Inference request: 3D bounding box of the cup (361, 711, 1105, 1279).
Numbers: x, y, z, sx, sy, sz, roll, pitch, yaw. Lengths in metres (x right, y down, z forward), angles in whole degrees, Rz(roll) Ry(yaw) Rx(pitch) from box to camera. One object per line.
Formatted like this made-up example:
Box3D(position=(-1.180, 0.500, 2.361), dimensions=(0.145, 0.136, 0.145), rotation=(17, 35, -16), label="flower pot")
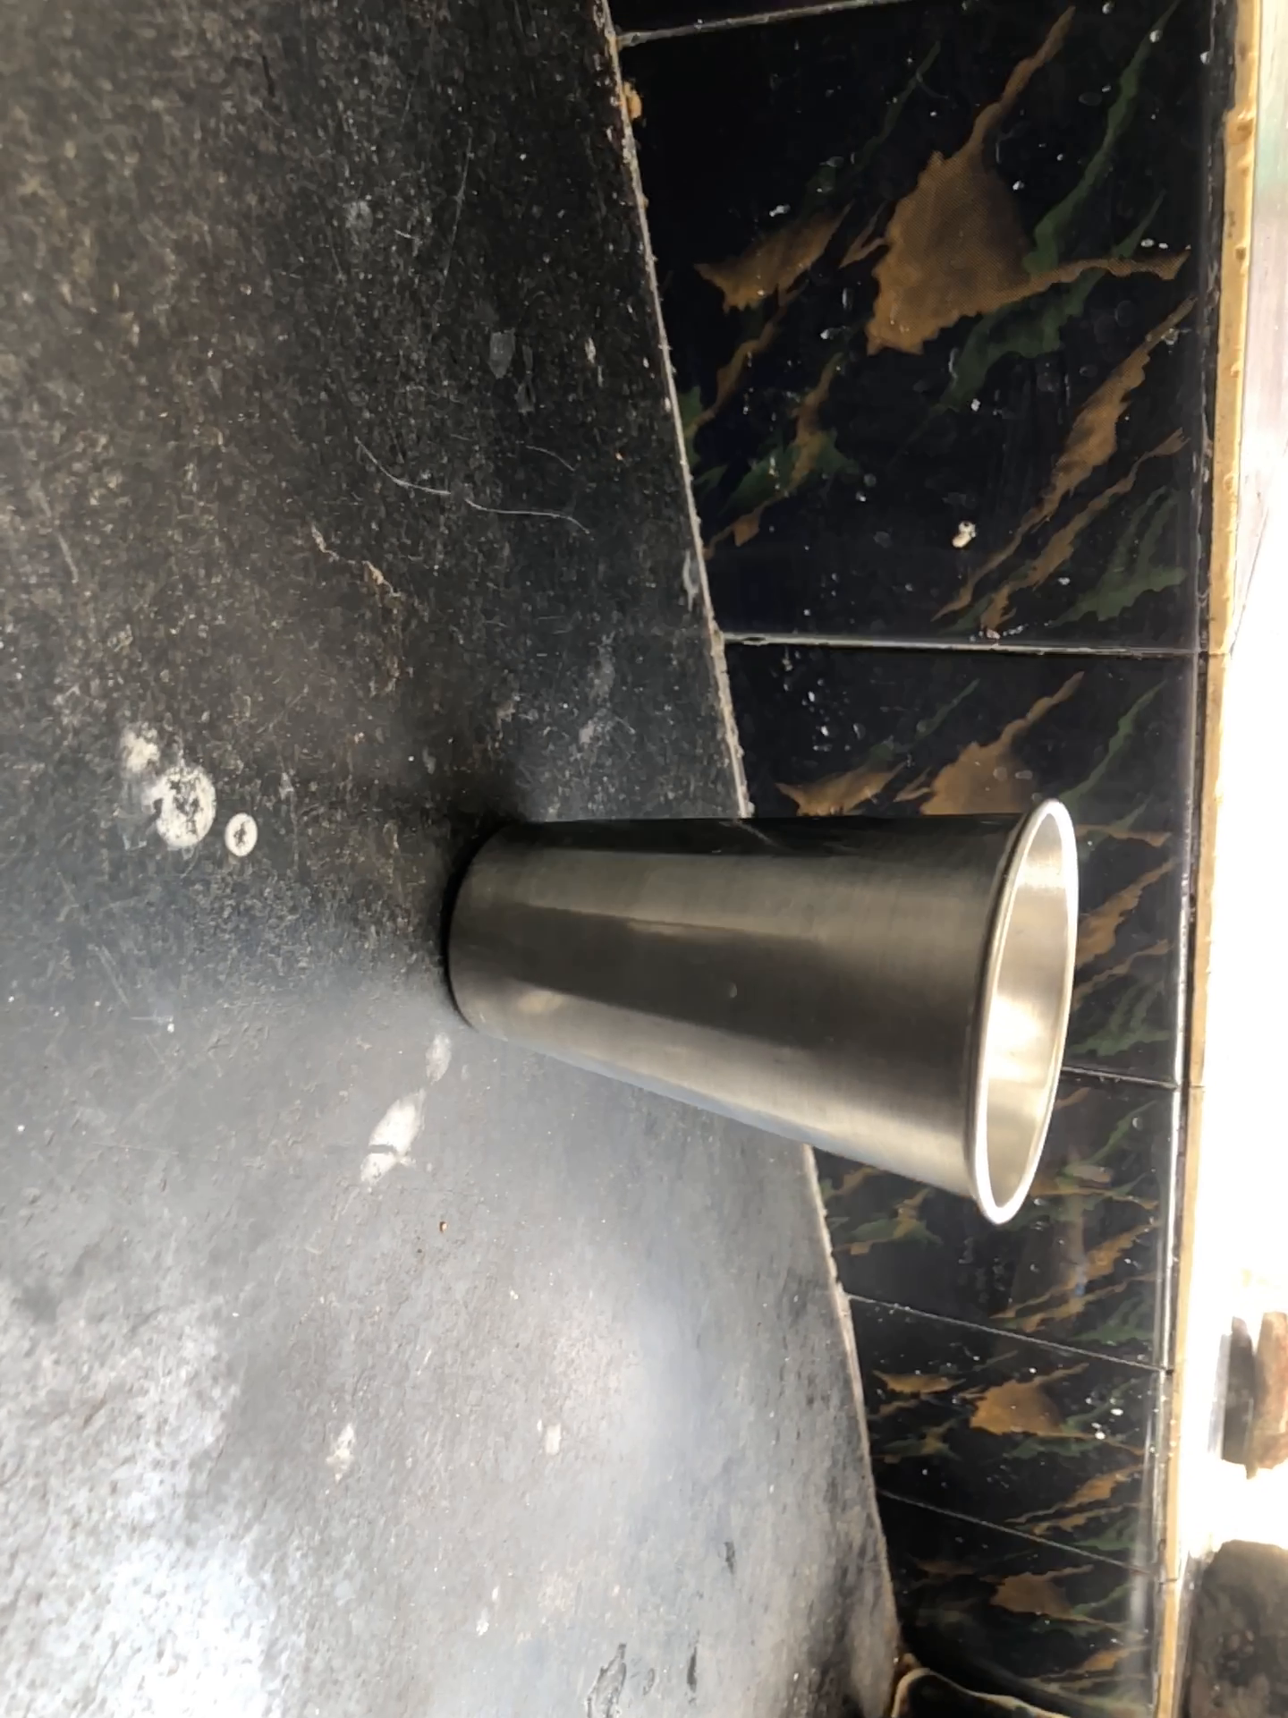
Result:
Box3D(position=(0.024, 0.026, 0.291), dimensions=(0.080, 0.119, 0.070), rotation=(61, 42, -52), label="cup")
